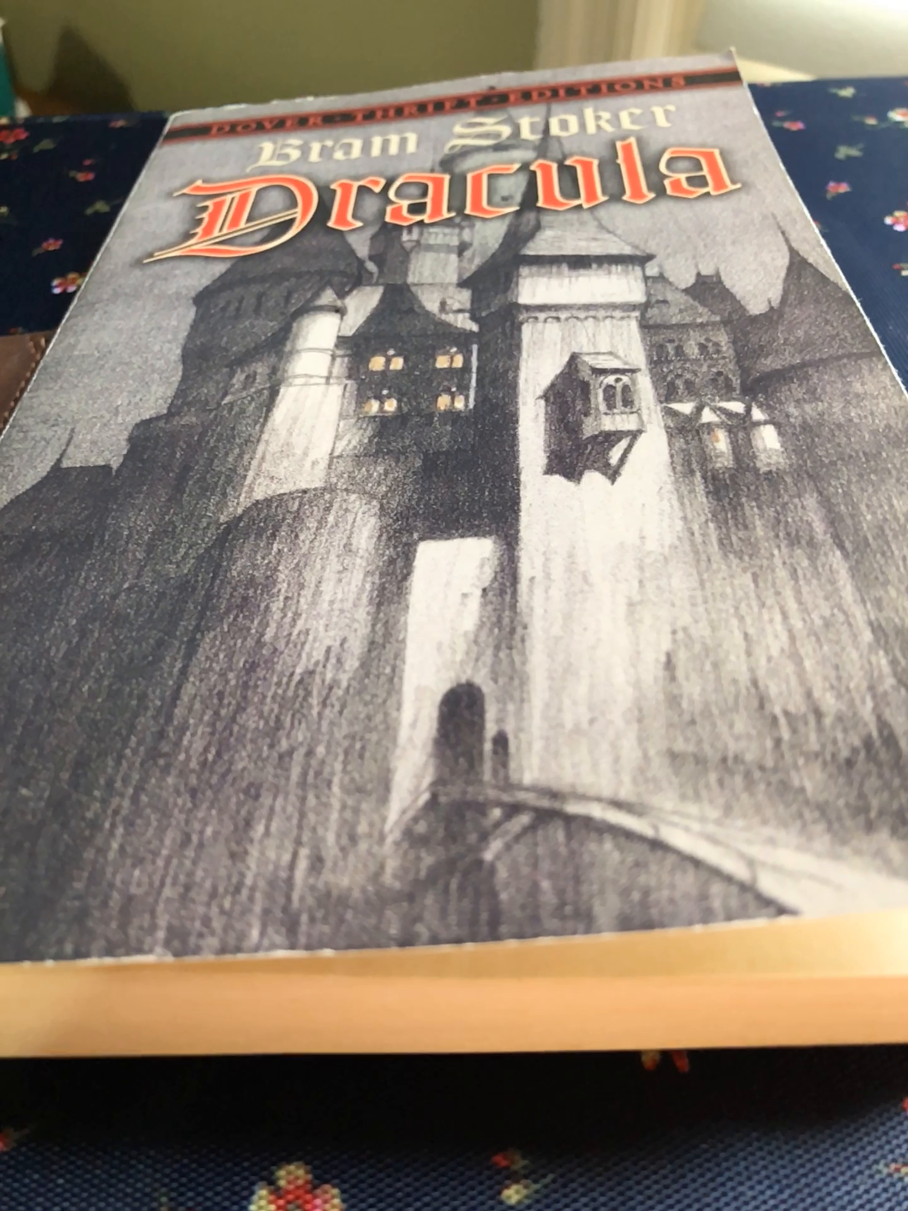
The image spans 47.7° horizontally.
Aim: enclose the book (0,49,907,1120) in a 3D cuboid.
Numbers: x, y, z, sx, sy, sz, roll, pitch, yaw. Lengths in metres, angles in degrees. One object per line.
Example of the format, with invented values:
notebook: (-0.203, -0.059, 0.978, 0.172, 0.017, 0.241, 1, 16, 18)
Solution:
book: (-0.004, -0.031, 0.167, 0.130, 0.033, 0.203, -3, 46, 5)
